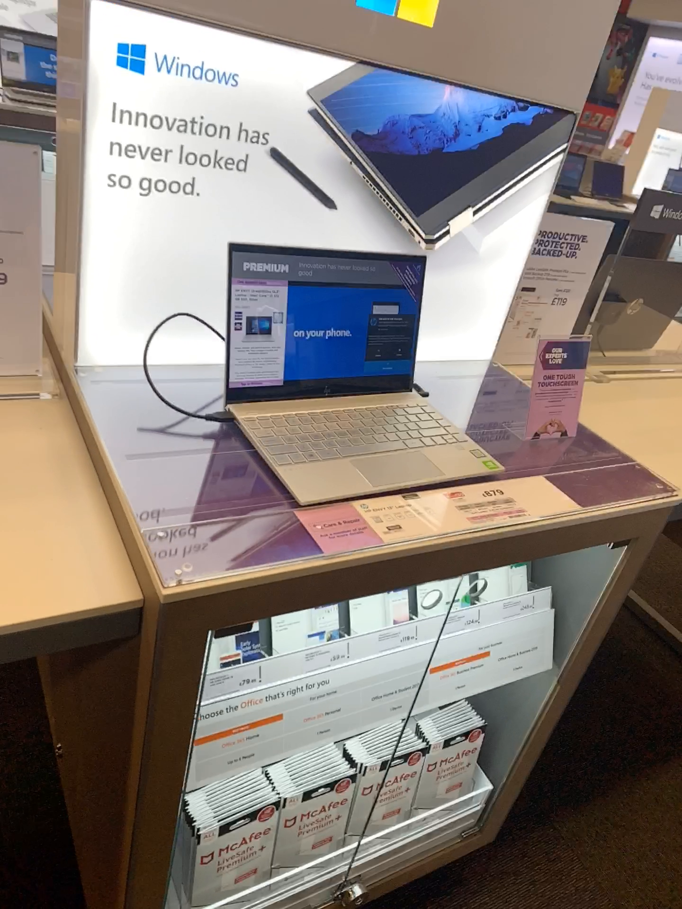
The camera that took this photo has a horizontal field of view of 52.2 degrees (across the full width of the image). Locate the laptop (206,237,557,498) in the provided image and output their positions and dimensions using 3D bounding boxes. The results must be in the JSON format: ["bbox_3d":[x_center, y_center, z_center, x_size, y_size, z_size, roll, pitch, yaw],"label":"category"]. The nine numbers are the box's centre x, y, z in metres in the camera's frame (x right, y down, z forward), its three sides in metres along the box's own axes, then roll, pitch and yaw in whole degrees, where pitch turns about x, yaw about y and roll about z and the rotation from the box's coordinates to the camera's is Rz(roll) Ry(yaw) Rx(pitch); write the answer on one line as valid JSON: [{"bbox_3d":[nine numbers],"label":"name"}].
[{"bbox_3d":[0.037,-0.116,0.843,0.296,0.181,0.261,-6,36,-33],"label":"laptop"}]
